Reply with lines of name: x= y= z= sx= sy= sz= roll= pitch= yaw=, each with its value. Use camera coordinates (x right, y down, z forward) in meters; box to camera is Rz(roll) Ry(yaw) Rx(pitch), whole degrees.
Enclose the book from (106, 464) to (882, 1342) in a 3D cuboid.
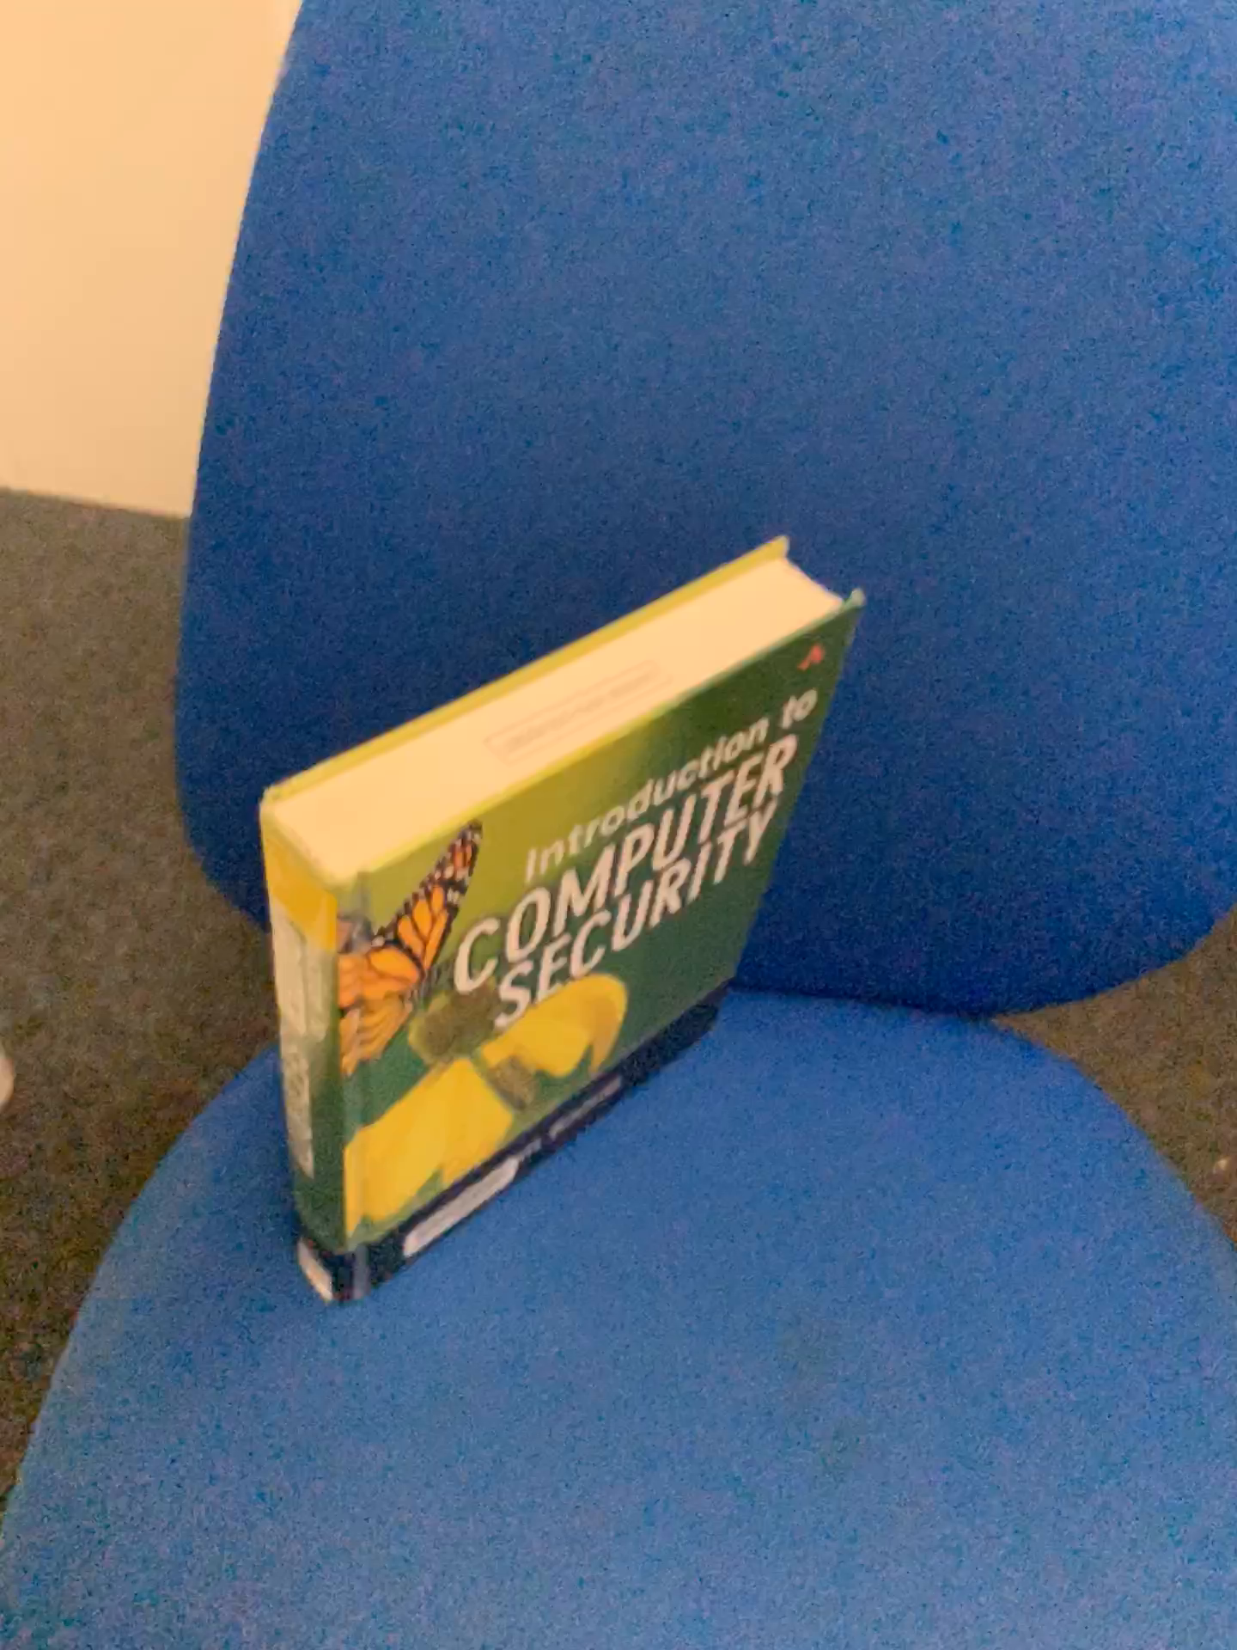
book: x=-0.035 y=0.042 z=0.436 sx=0.211 sy=0.278 sz=0.050 roll=-32 pitch=62 yaw=-29
